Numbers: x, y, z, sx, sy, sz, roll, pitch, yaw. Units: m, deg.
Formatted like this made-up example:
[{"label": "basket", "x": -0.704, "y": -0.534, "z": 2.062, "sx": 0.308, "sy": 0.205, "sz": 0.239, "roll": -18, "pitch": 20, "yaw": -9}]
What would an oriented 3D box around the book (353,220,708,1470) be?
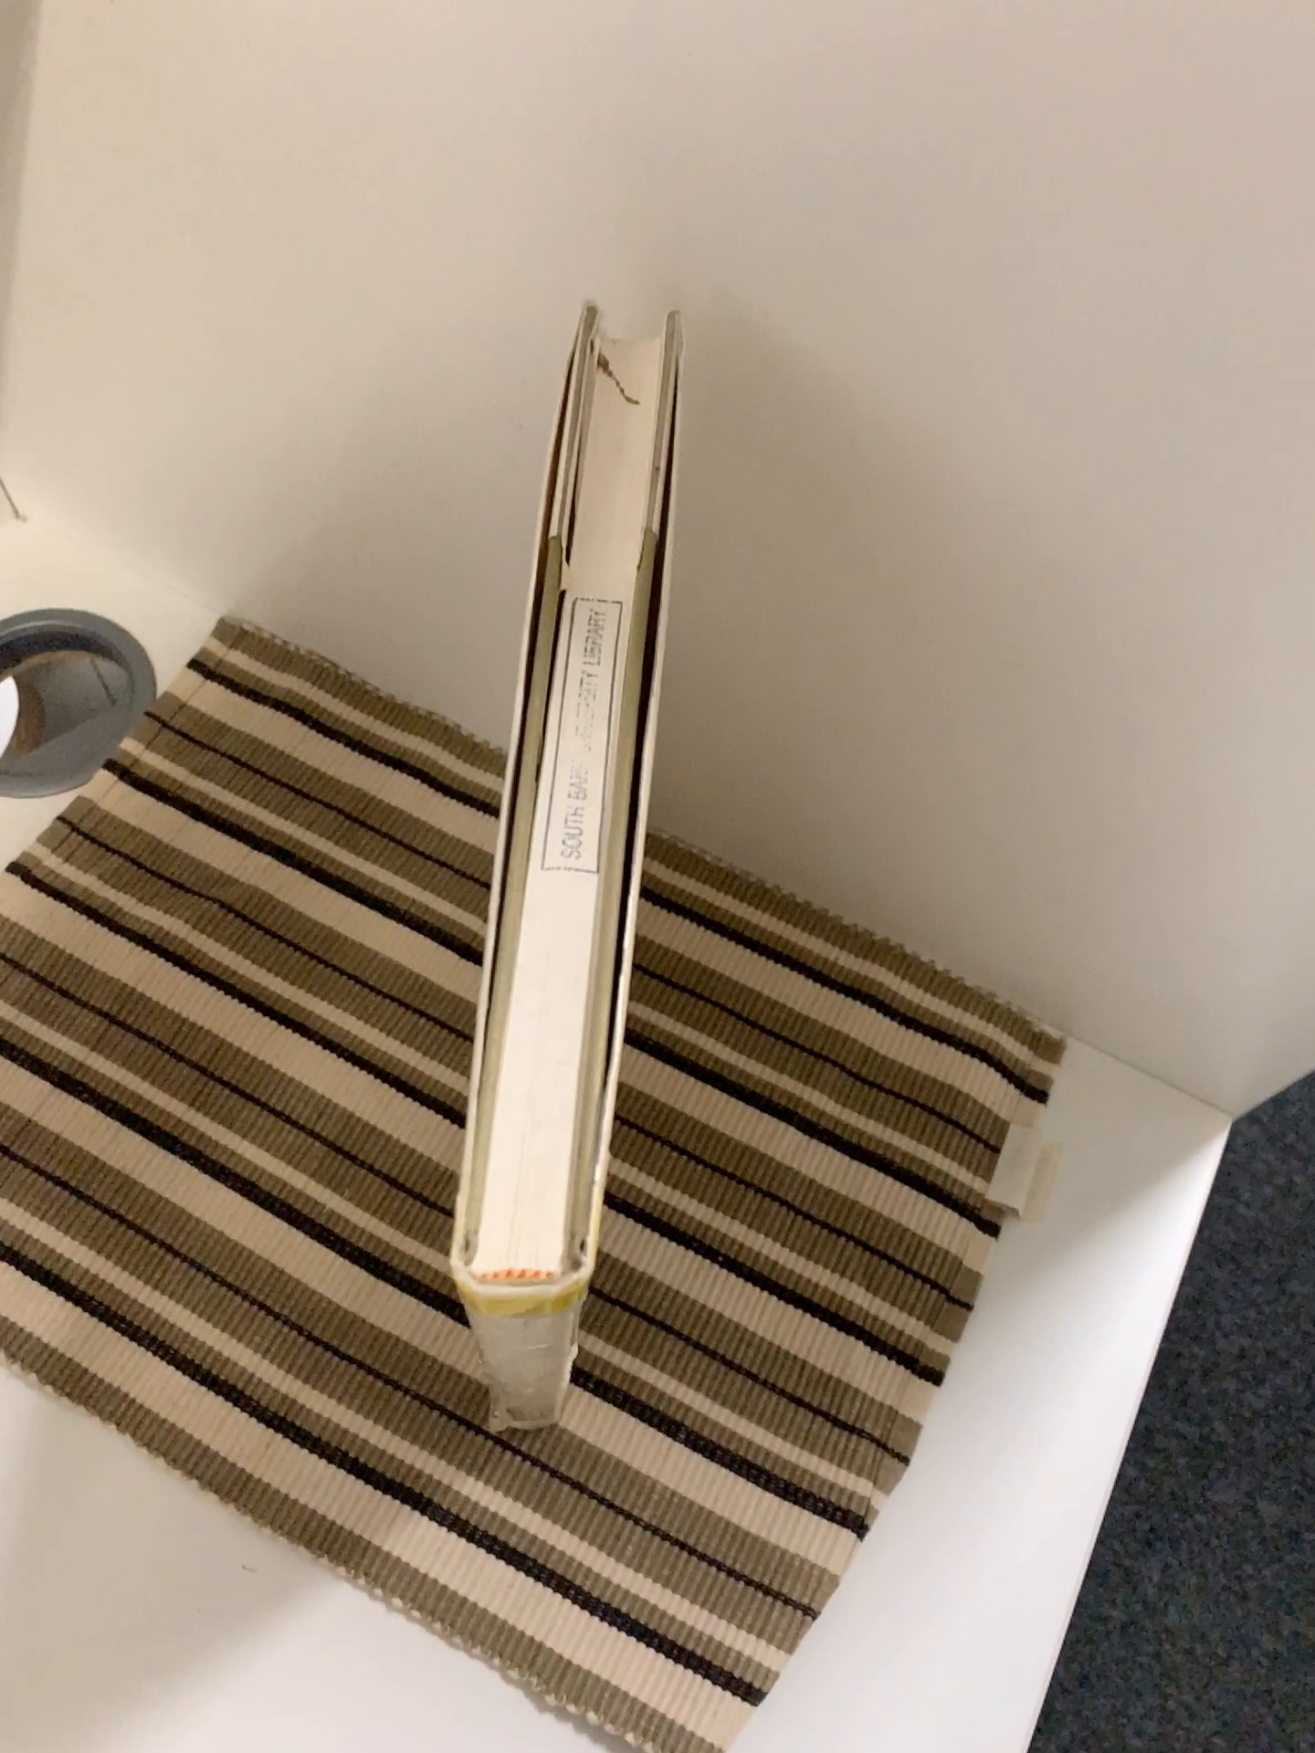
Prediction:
[{"label": "book", "x": -0.026, "y": 0.024, "z": 0.387, "sx": 0.040, "sy": 0.288, "sz": 0.252, "roll": 5, "pitch": 63, "yaw": -1}]
